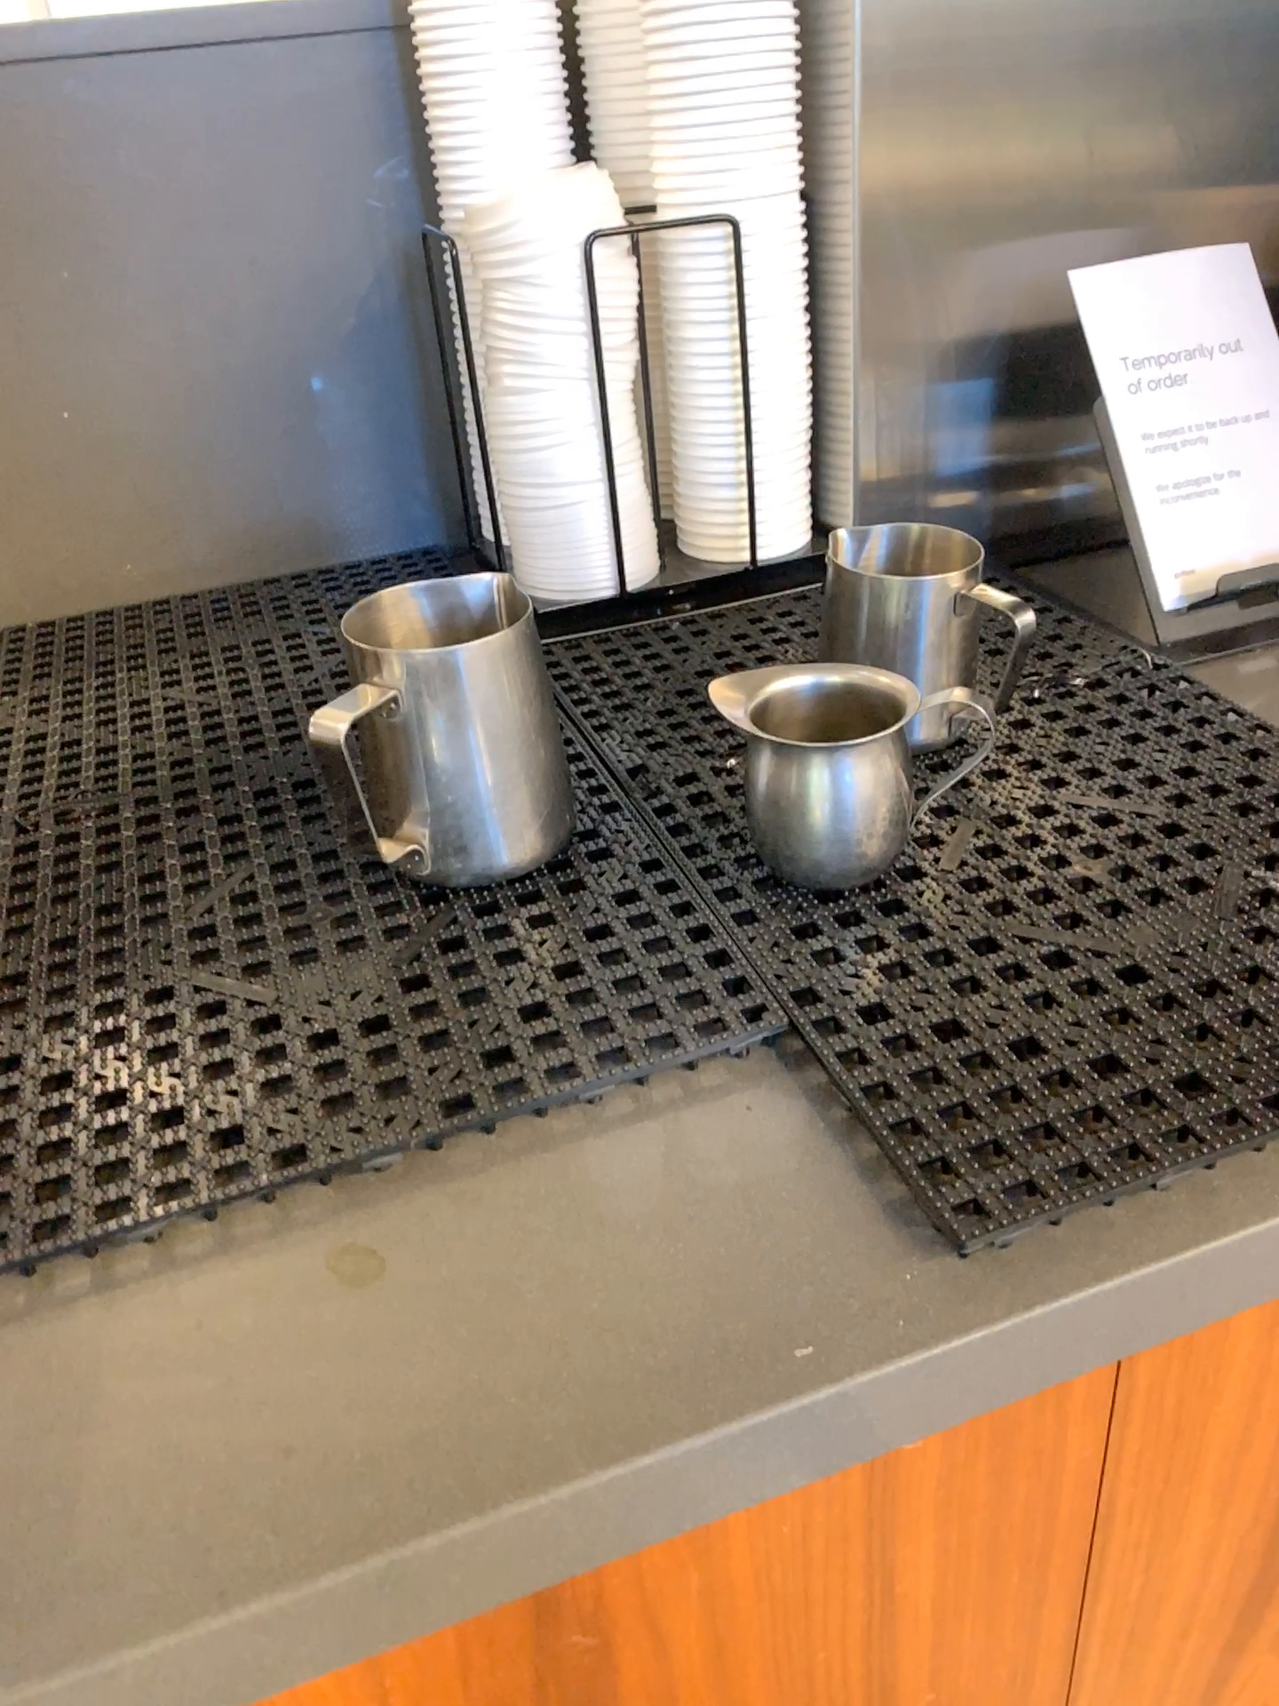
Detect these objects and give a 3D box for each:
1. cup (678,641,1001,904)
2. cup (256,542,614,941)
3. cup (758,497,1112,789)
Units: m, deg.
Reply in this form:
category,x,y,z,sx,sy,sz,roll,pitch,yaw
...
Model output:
category,x,y,z,sx,sy,sz,roll,pitch,yaw
cup,0.079,-0.034,0.506,0.110,0.070,0.070,4,33,16
cup,-0.074,-0.050,0.529,0.070,0.109,0.120,12,35,26
cup,0.129,-0.100,0.594,0.080,0.079,0.131,-26,37,-30
